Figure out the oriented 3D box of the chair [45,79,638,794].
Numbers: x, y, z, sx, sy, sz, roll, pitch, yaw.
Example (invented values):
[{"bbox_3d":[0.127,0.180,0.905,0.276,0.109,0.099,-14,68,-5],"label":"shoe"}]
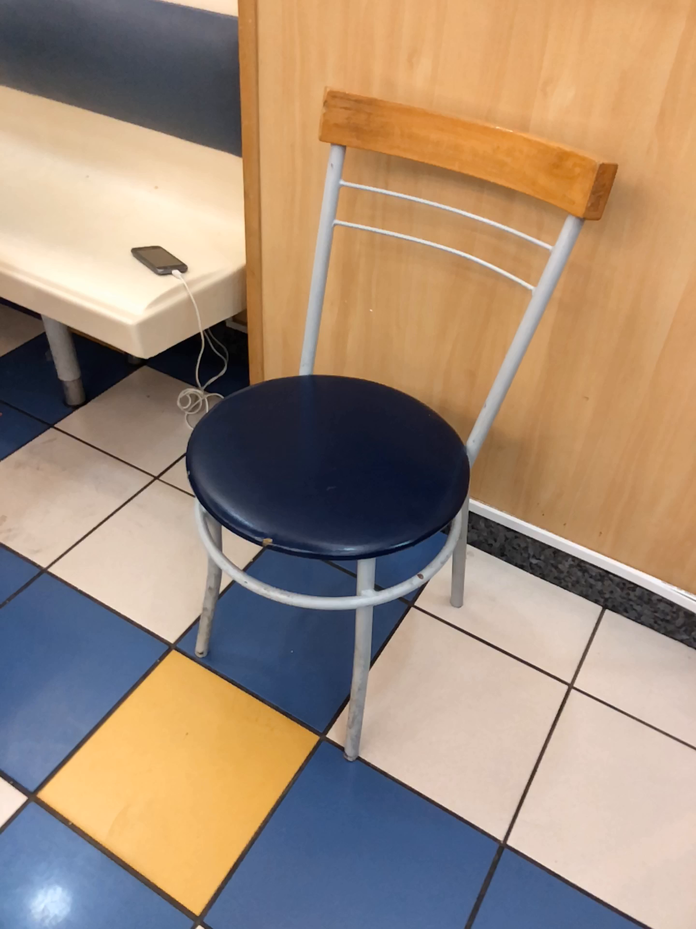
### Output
[{"bbox_3d":[0.008,-0.046,1.081,0.441,0.744,0.523,24,45,22],"label":"chair"}]
